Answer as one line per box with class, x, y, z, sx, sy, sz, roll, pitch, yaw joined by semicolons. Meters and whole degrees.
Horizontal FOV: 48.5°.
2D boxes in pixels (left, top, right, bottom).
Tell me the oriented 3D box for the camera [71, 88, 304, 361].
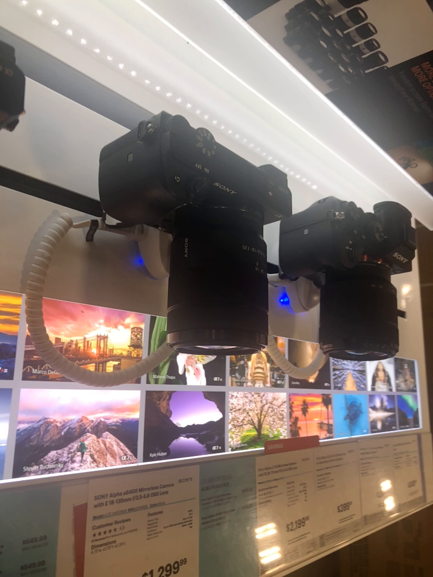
camera;-0.009;-0.025;0.308;0.131;0.069;0.130;17;71;-46
